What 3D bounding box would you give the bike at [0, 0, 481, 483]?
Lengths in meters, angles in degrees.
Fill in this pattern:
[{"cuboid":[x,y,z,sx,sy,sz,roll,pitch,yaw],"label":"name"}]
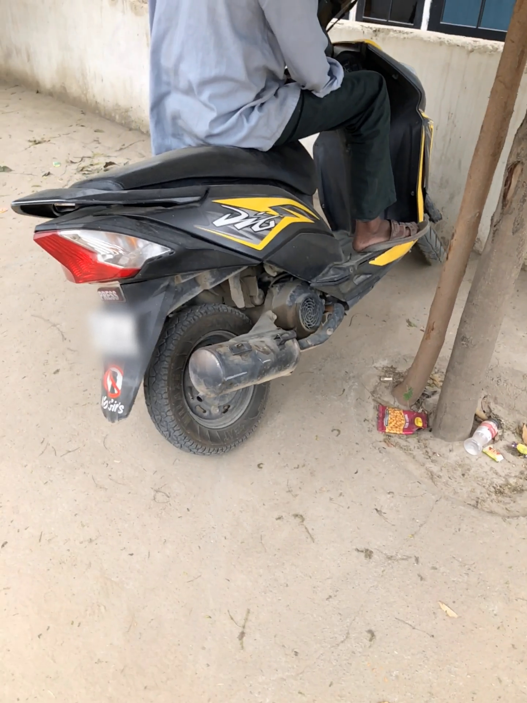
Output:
[{"cuboid":[0.000,-0.651,1.840,0.634,1.144,1.580,22,42,25],"label":"bike"}]
